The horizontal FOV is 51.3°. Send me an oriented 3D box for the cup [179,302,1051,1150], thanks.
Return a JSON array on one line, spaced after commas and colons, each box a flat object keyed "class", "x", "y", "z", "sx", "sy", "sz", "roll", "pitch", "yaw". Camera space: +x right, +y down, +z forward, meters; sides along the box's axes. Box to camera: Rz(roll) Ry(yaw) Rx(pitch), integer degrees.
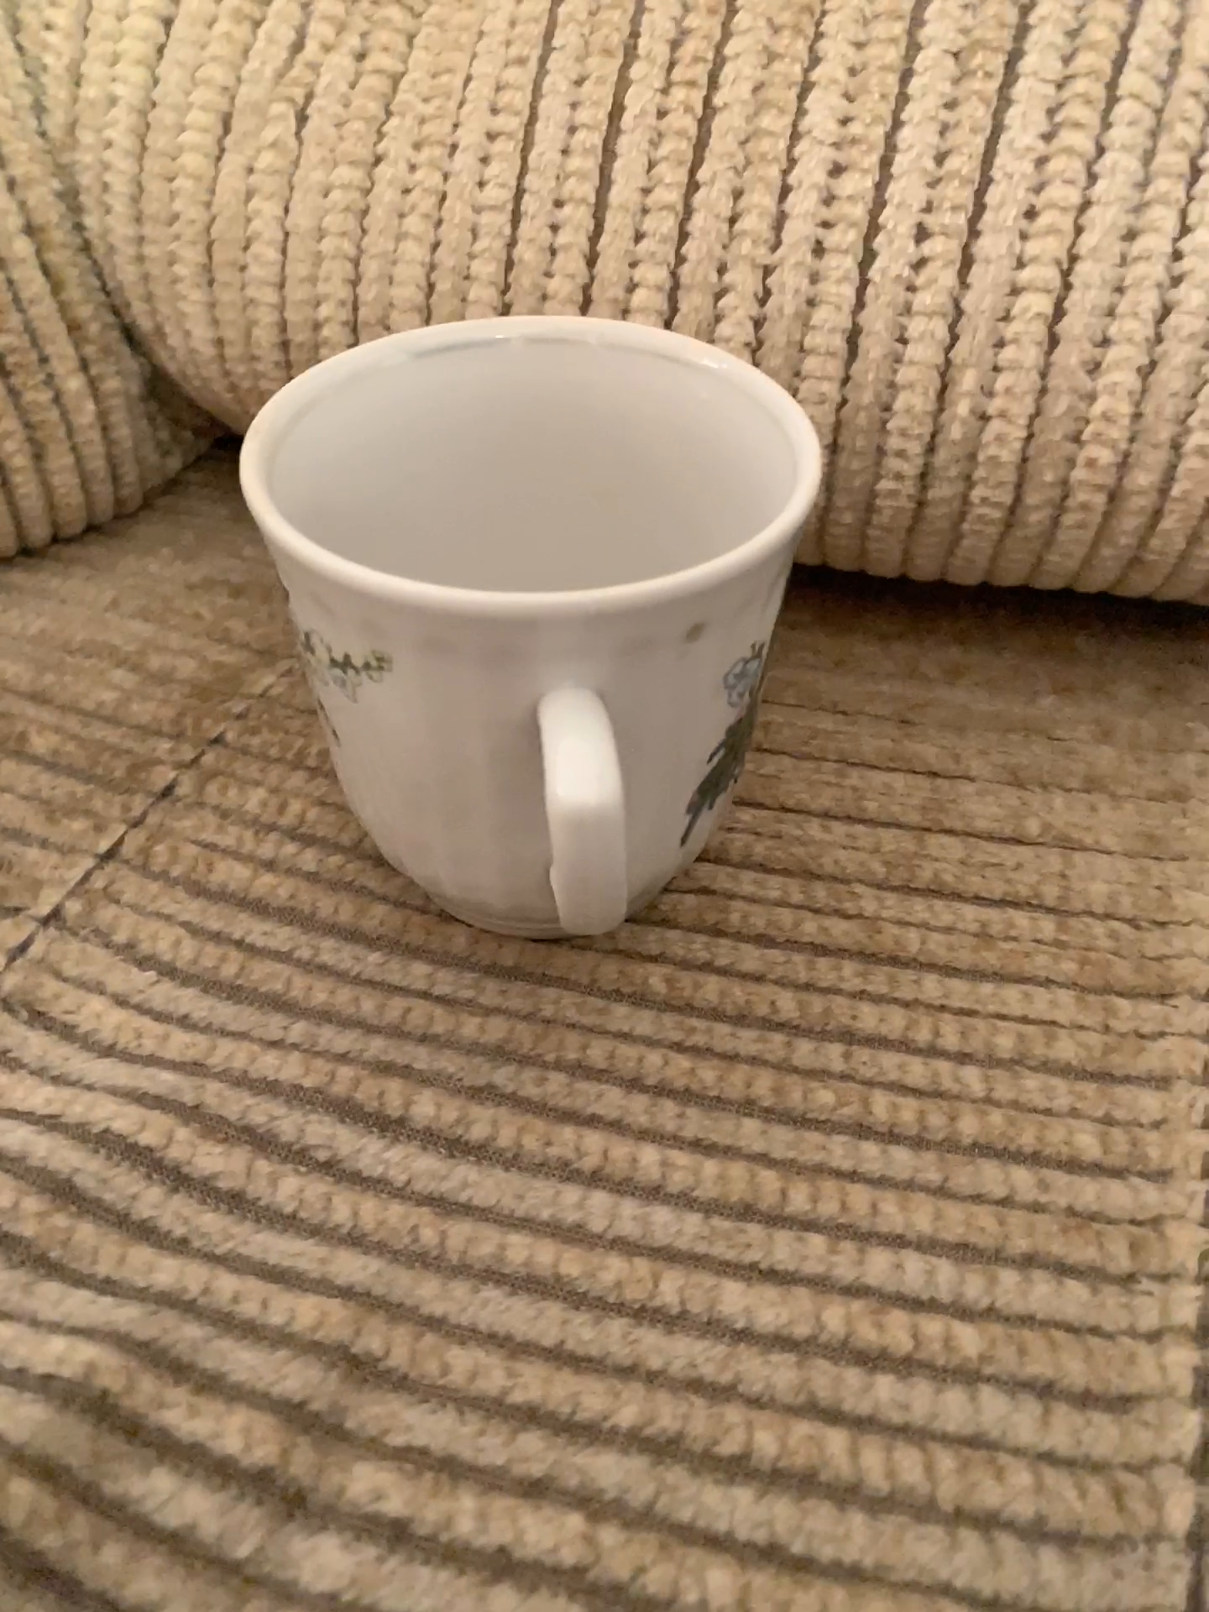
[{"class": "cup", "x": -0.009, "y": -0.024, "z": 0.208, "sx": 0.095, "sy": 0.077, "sz": 0.113, "roll": -11, "pitch": 39, "yaw": -16}]
